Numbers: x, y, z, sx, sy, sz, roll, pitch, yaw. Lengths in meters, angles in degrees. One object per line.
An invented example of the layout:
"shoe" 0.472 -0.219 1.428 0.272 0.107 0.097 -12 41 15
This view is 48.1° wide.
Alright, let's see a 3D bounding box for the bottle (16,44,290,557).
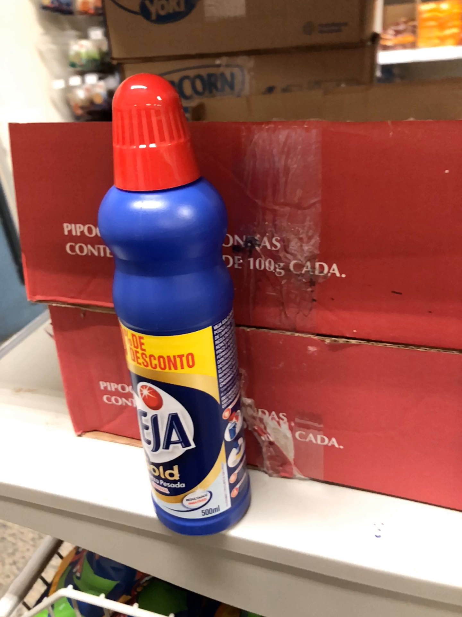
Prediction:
"bottle" -0.026 0.005 0.274 0.070 0.248 0.070 -6 27 3
